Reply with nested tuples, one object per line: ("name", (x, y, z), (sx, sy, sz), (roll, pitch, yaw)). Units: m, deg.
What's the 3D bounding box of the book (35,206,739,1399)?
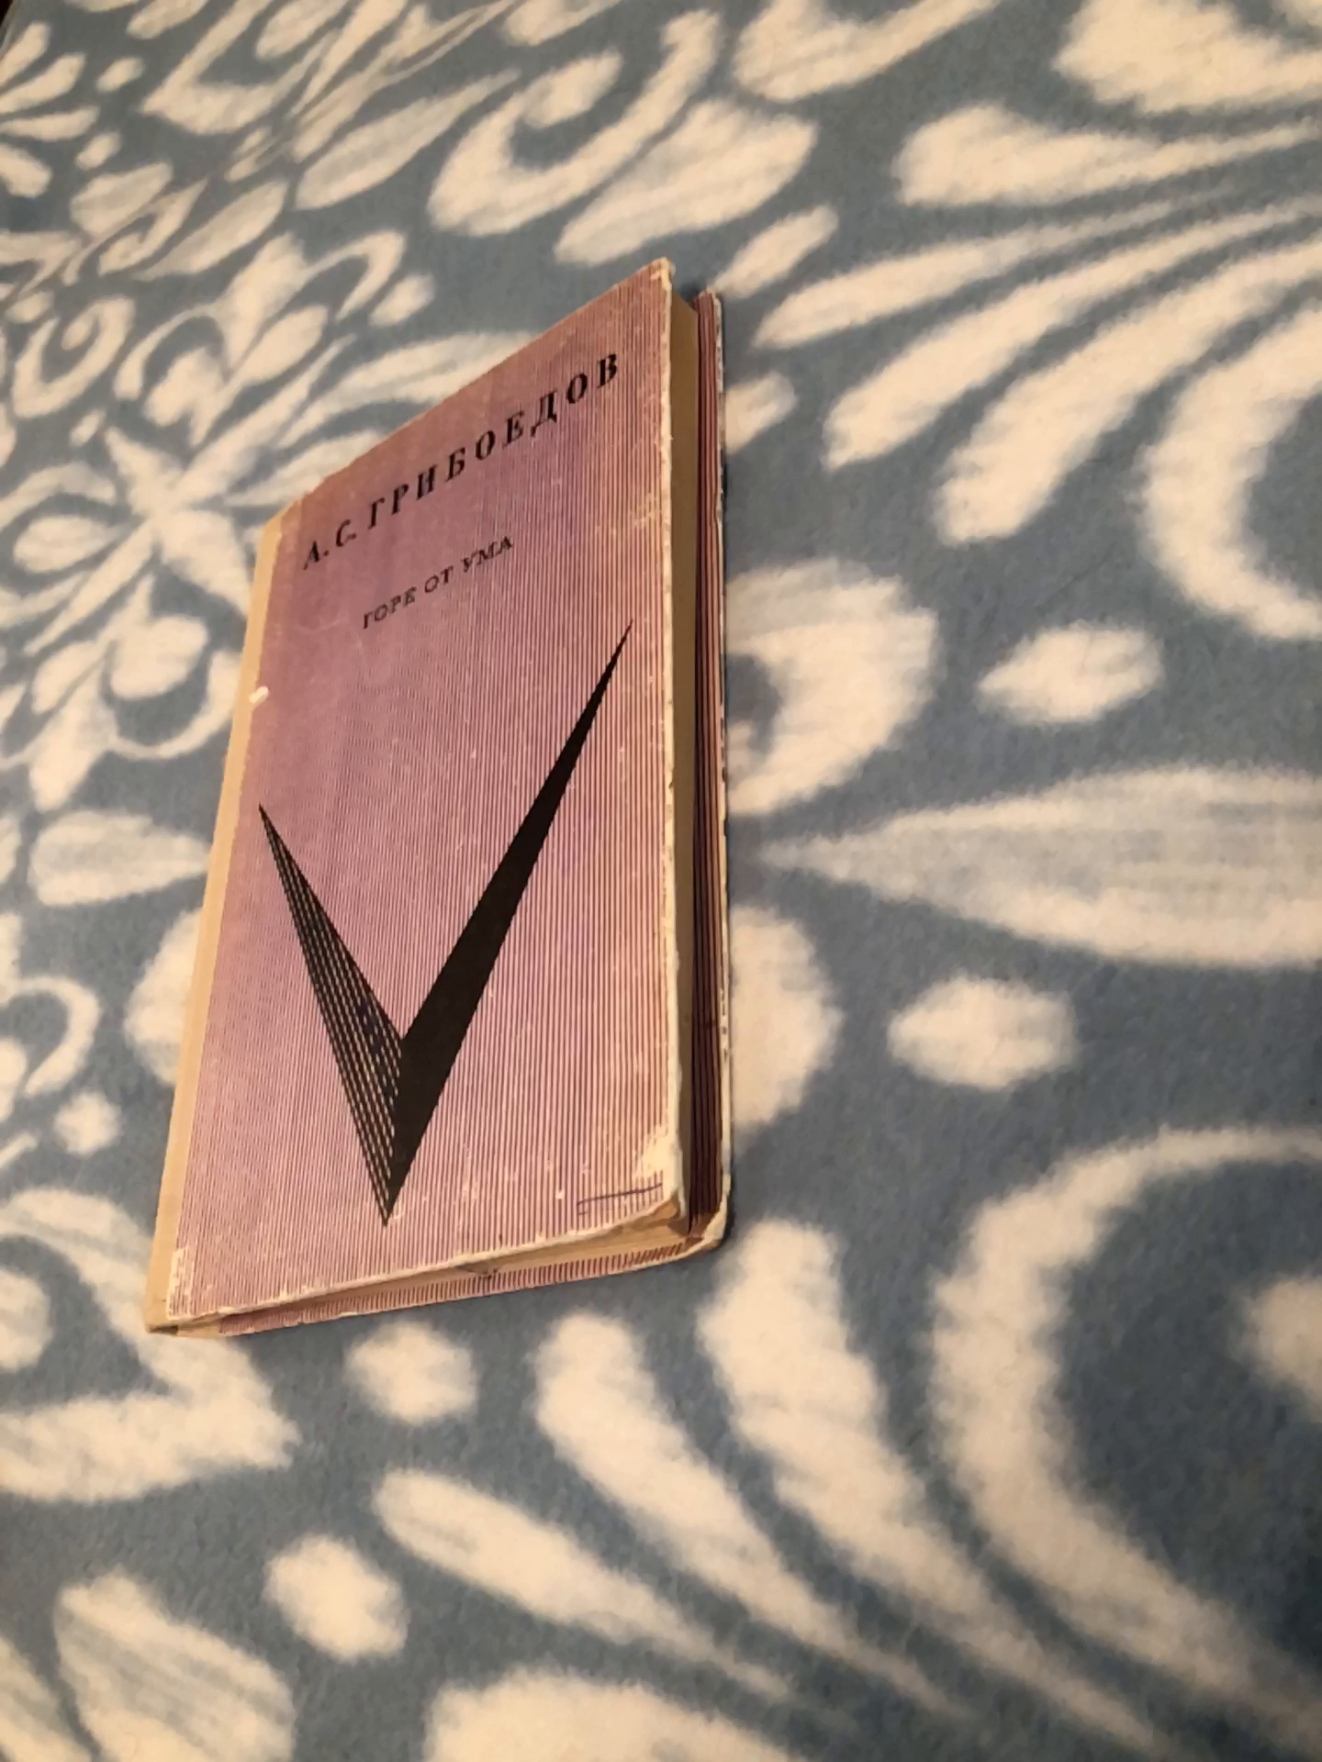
("book", (-0.056, -0.015, 0.302), (0.158, 0.020, 0.218), (-20, 57, 34))
